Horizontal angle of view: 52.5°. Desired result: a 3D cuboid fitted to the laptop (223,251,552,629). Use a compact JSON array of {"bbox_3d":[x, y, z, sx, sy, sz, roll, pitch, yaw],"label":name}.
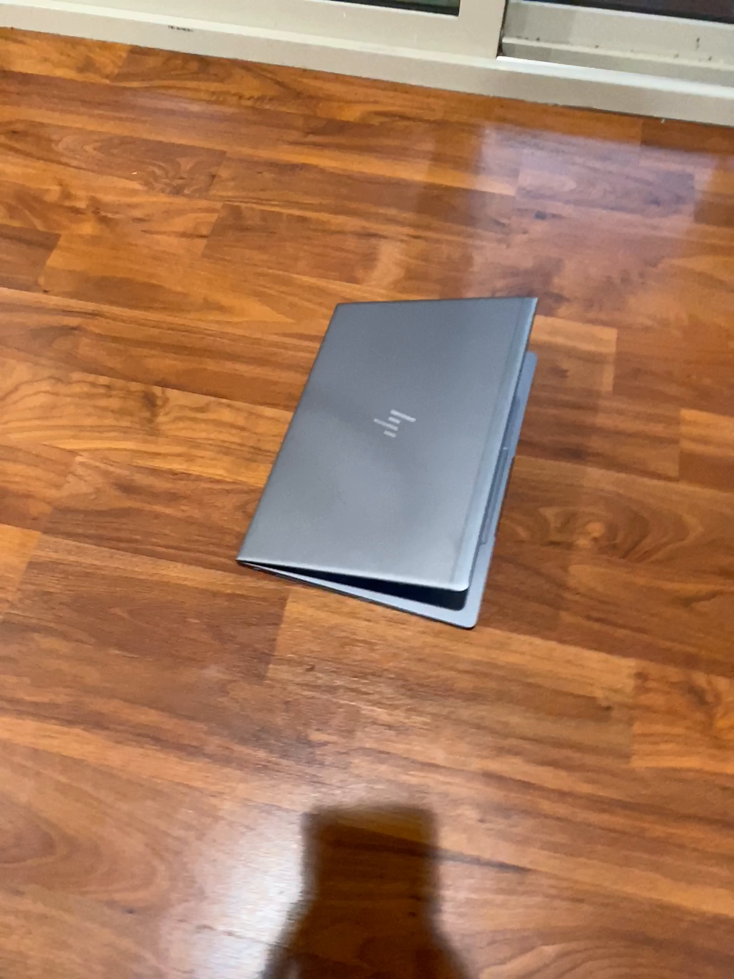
[{"bbox_3d":[0.031,-0.060,0.729,0.230,0.078,0.325,15,64,6],"label":"laptop"}]
